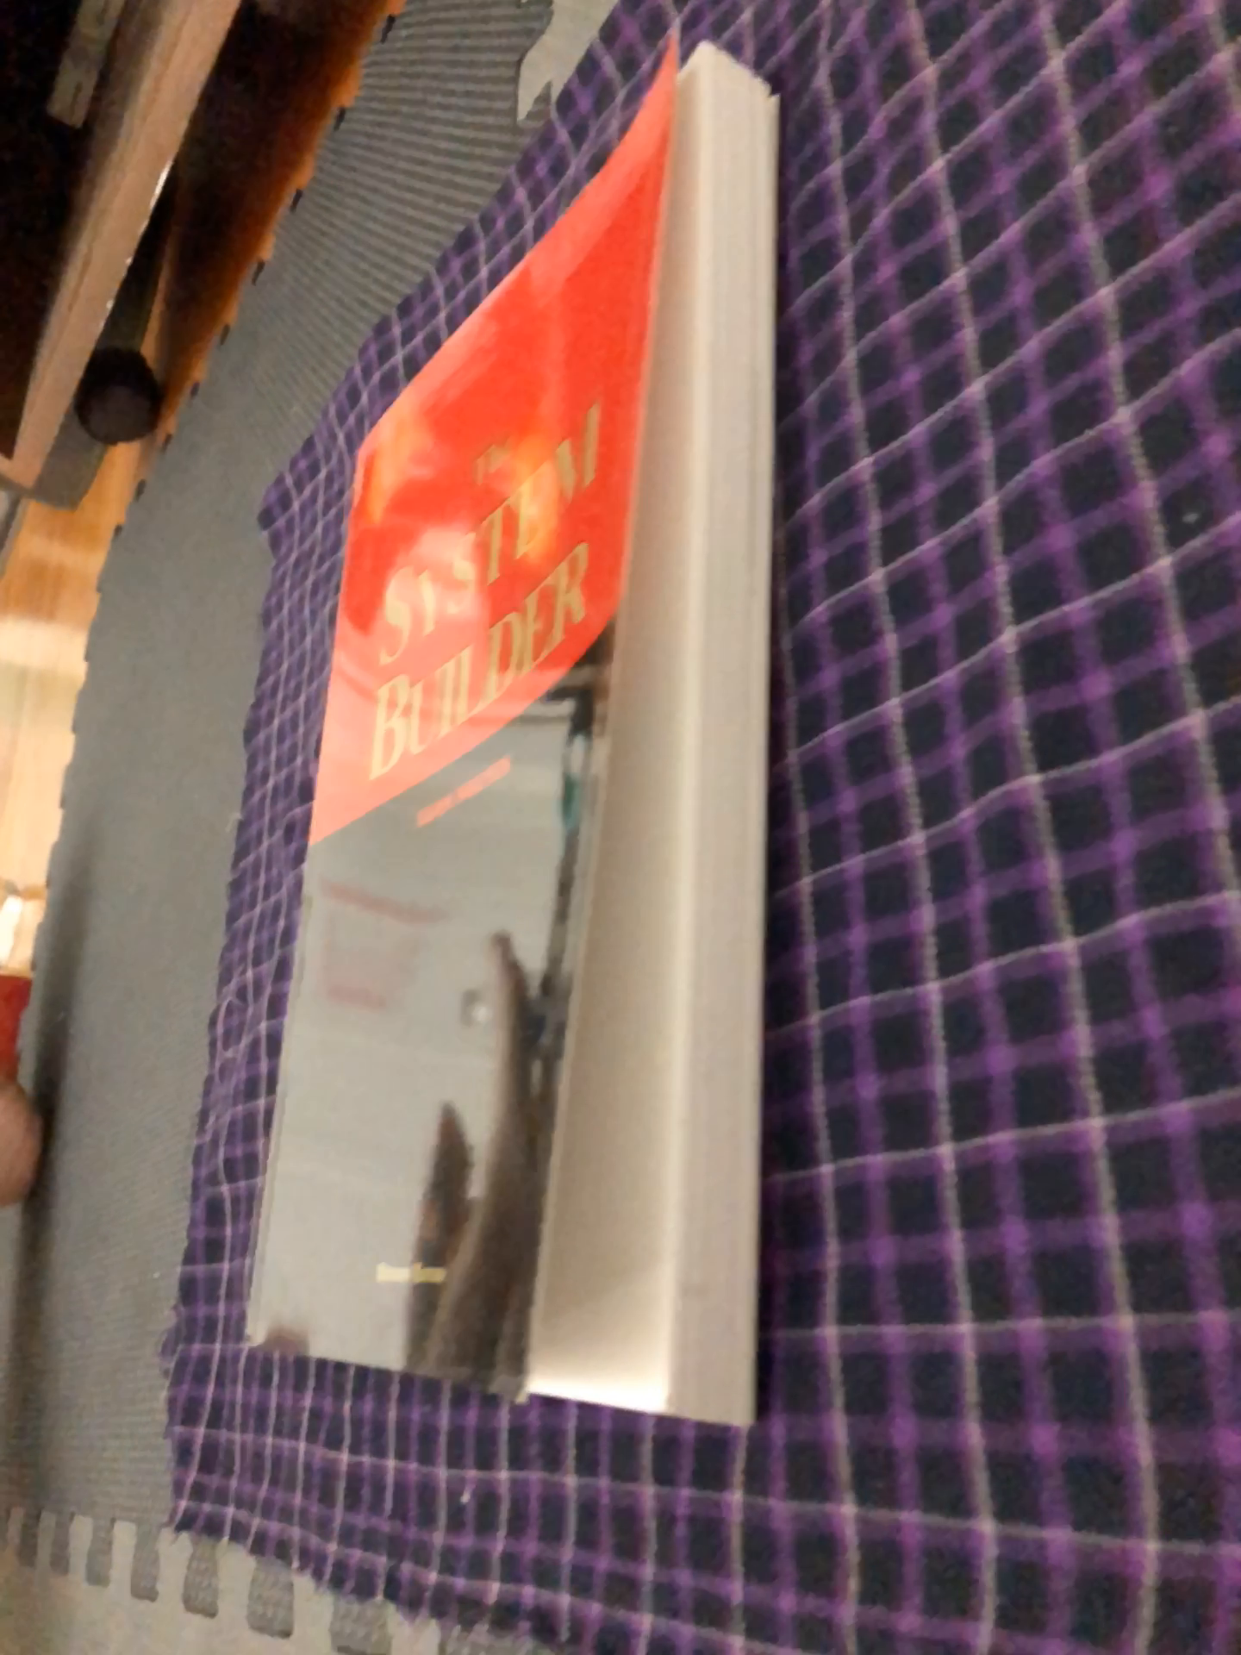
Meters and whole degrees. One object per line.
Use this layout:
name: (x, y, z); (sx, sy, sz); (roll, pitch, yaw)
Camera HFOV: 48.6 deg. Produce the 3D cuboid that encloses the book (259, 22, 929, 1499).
book: (-0.016, -0.006, 0.312); (0.201, 0.030, 0.260); (-25, 56, 53)
